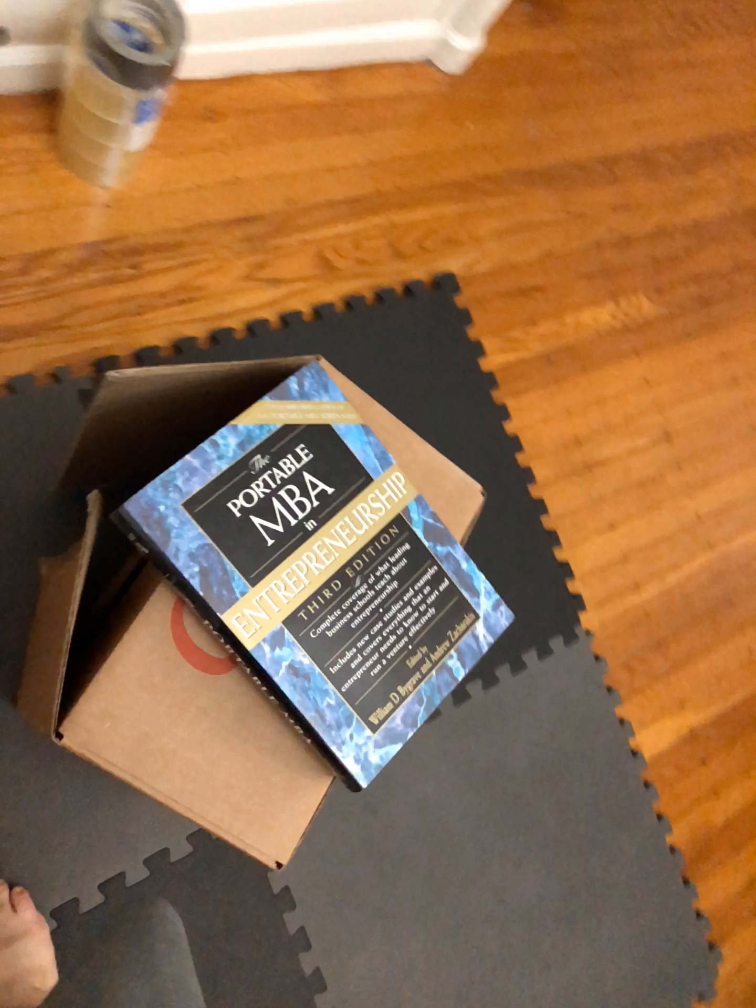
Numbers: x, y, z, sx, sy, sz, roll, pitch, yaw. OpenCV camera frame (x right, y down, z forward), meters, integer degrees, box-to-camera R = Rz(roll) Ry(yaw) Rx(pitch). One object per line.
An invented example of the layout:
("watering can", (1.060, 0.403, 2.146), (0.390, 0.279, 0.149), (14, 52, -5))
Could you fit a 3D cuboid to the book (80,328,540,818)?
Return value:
("book", (-0.038, 0.046, 0.608), (0.211, 0.060, 0.270), (-43, 101, -26))
